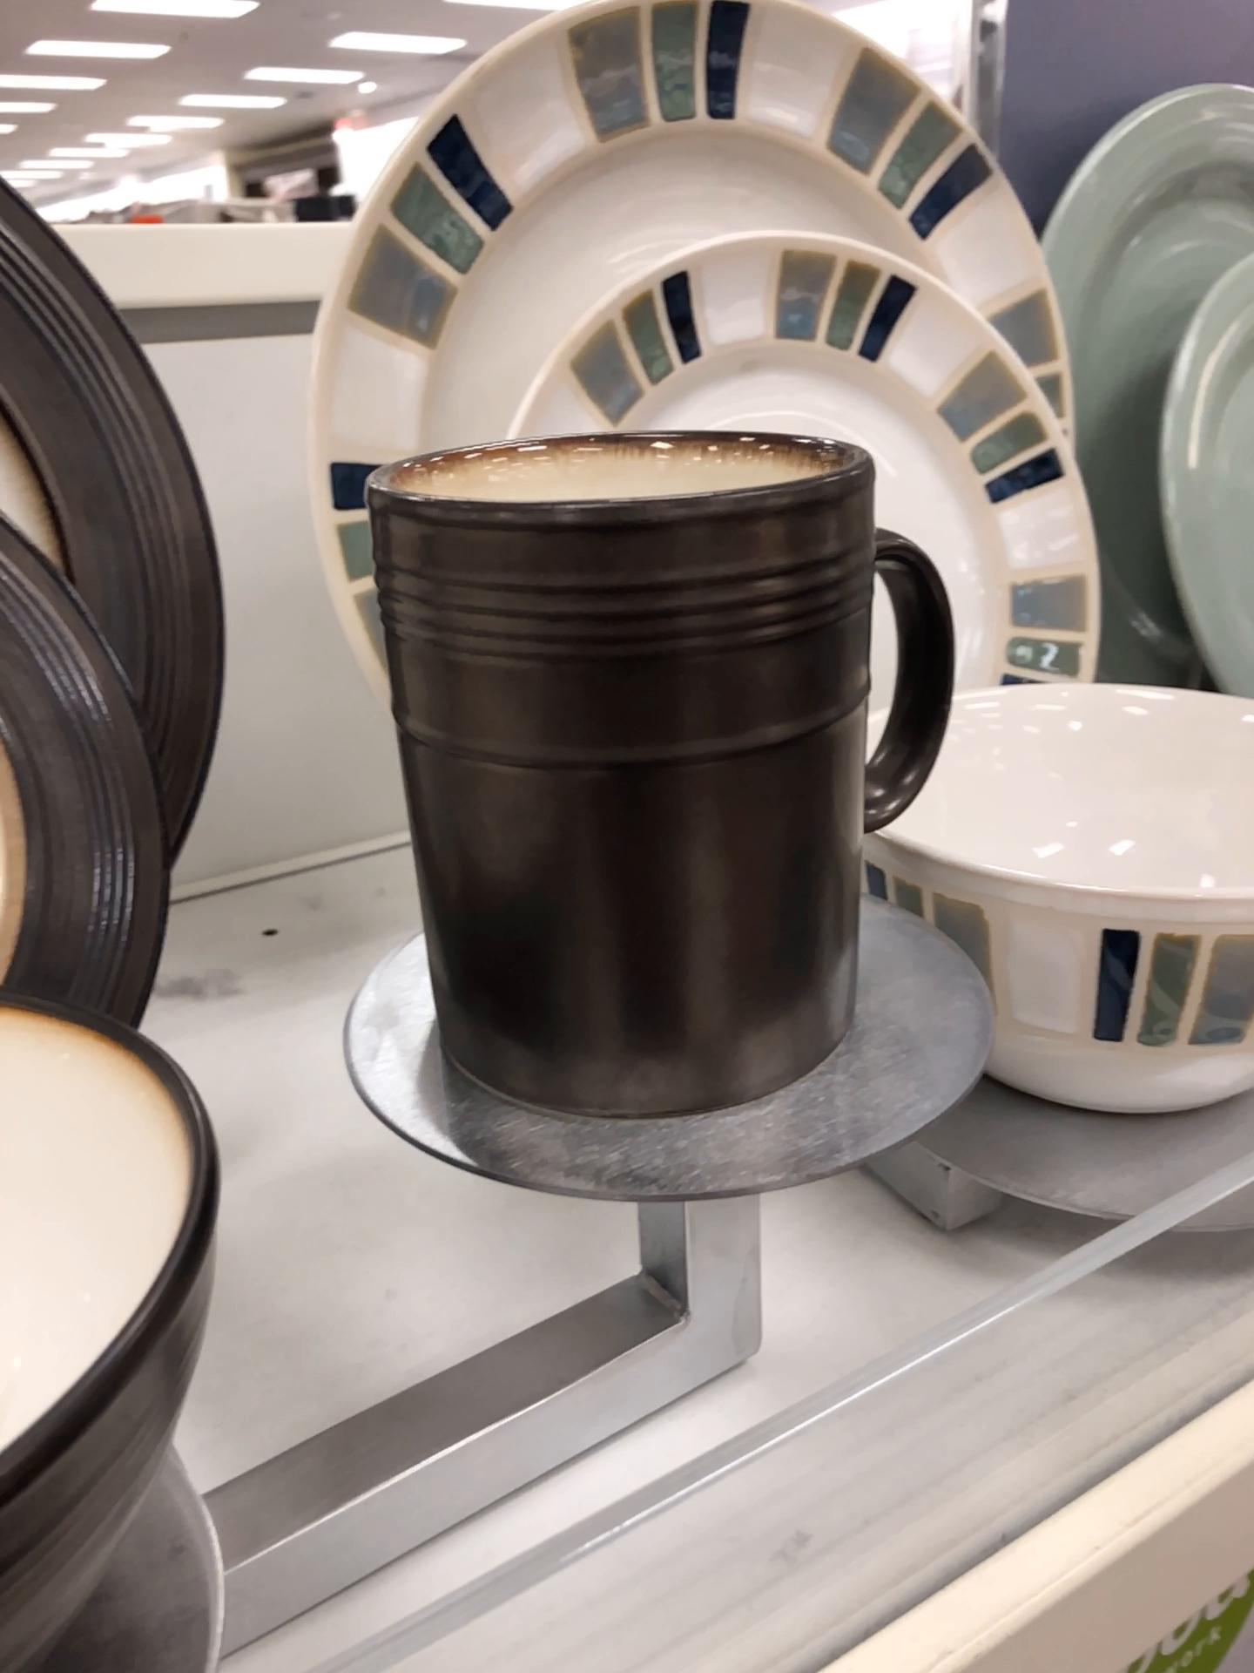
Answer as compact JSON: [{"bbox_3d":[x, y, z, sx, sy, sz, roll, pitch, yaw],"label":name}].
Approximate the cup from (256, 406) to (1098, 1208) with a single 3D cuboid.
[{"bbox_3d":[0.013,-0.019,0.257,0.119,0.102,0.083,-21,29,-39],"label":"cup"}]
